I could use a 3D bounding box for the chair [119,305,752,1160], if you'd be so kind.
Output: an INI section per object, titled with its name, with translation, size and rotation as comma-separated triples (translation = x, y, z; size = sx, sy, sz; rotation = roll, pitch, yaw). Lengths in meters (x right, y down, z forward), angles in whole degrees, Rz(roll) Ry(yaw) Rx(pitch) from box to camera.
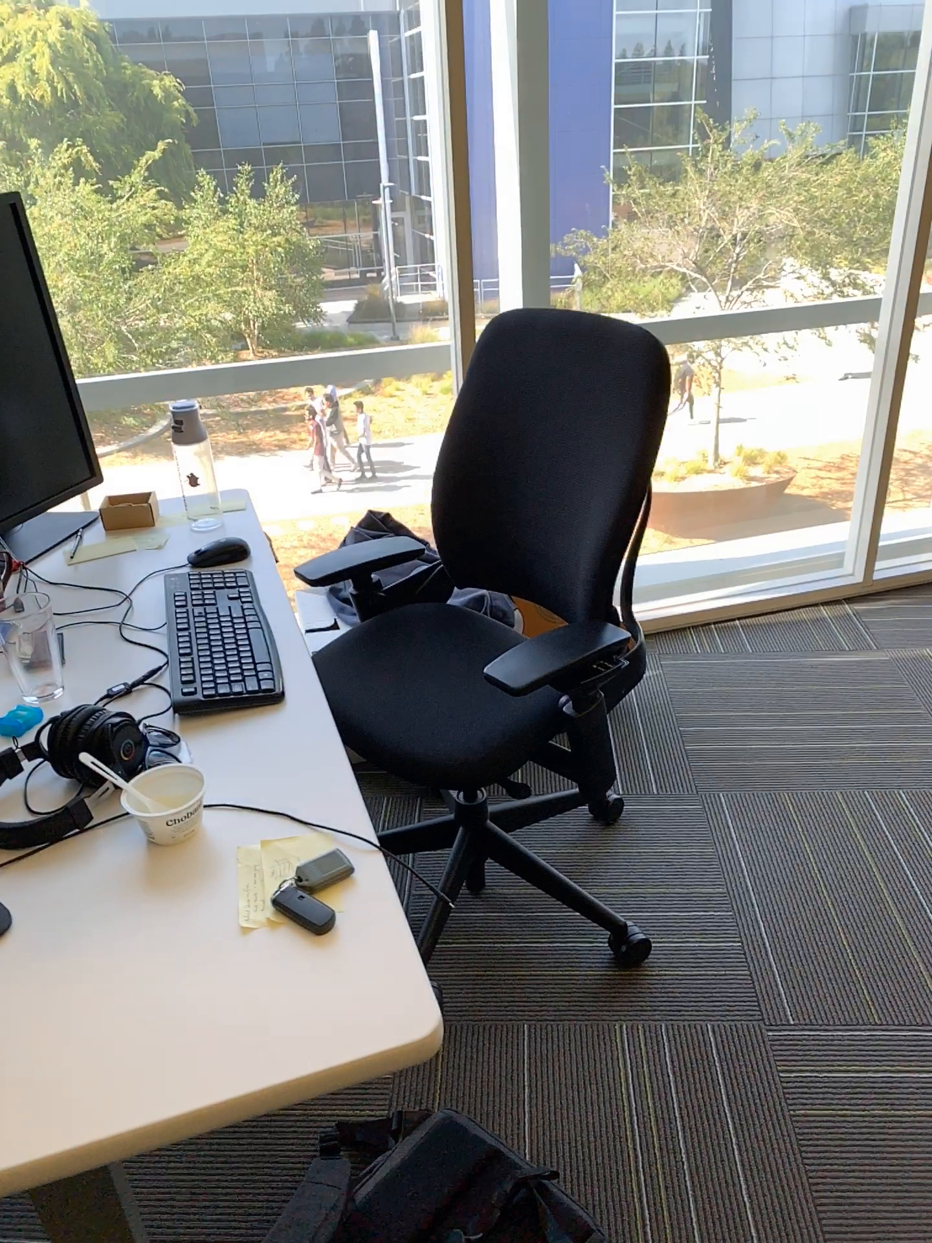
[chair]
translation = -0.023, 0.133, 1.766
size = 0.713, 1.223, 0.691
rotation = 22, 37, 40
